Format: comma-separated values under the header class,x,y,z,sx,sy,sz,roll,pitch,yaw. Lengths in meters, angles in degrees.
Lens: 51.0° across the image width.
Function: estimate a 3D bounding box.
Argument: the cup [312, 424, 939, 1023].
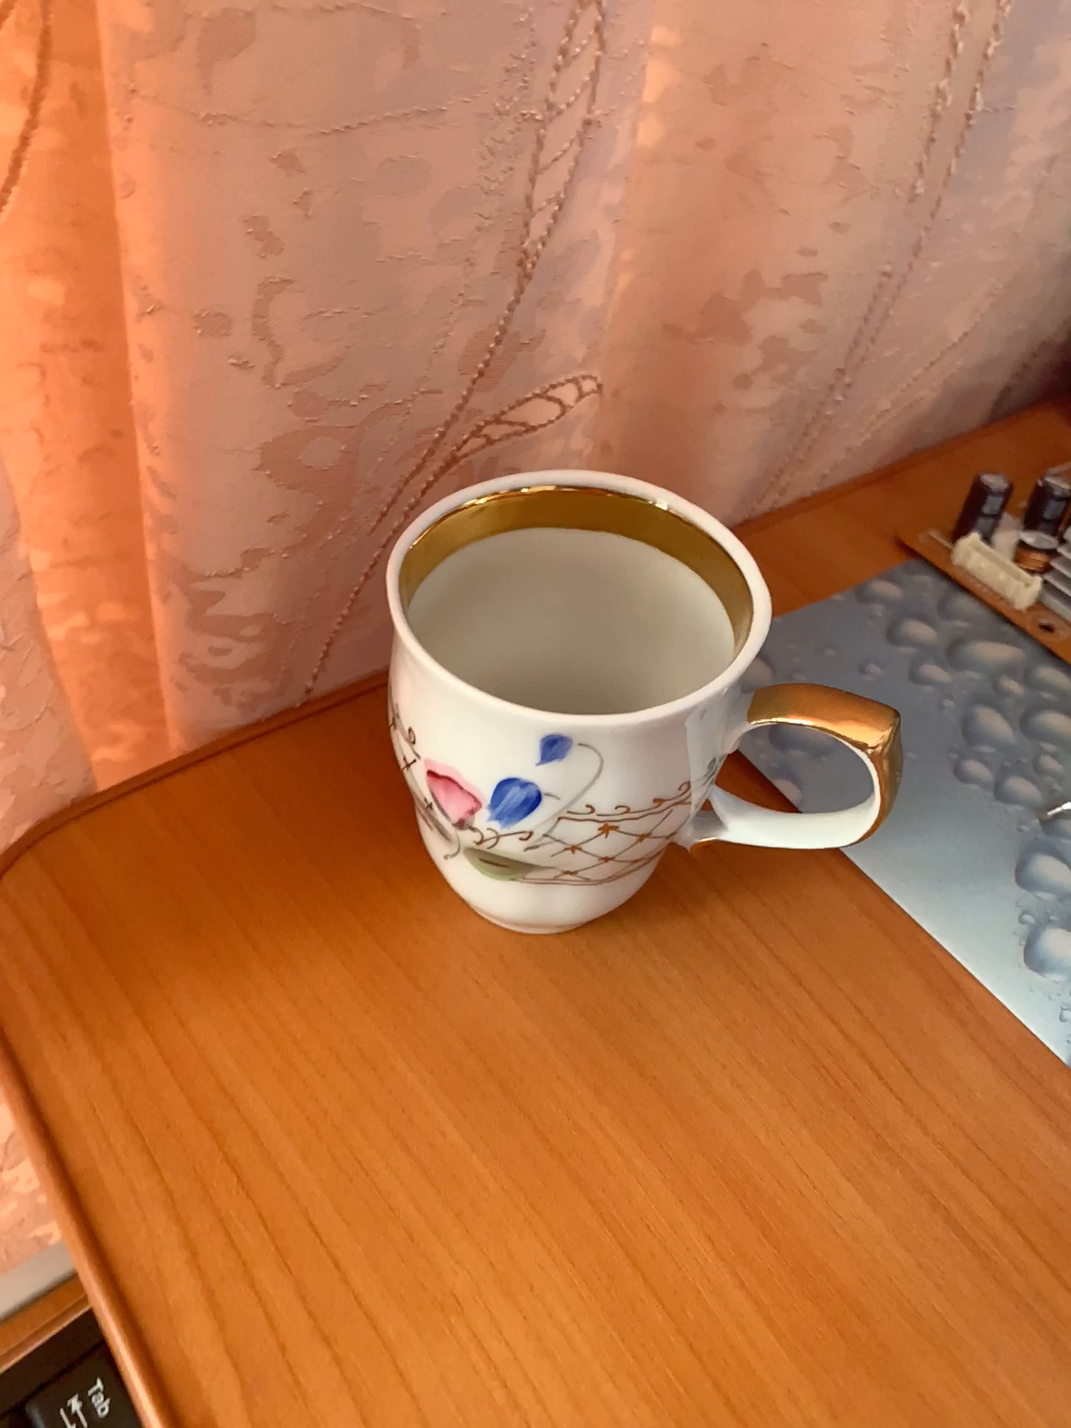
class,x,y,z,sx,sy,sz,roll,pitch,yaw
cup,0.015,-0.001,0.186,0.082,0.055,0.059,15,45,9
